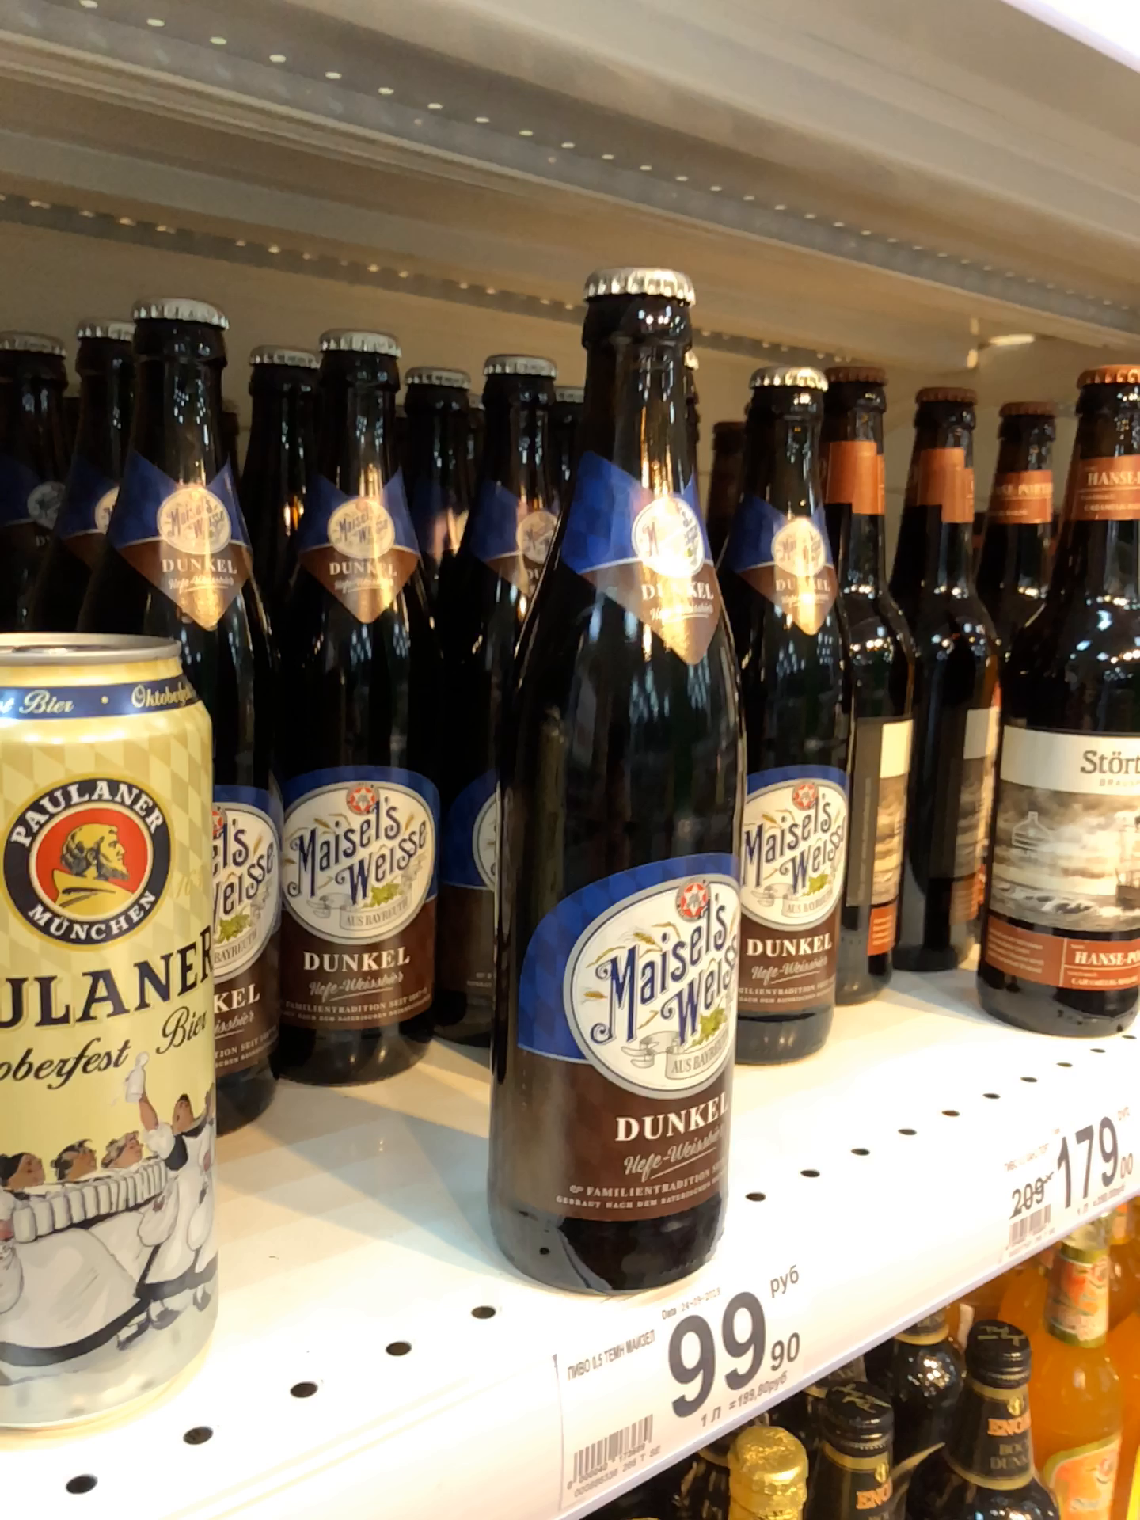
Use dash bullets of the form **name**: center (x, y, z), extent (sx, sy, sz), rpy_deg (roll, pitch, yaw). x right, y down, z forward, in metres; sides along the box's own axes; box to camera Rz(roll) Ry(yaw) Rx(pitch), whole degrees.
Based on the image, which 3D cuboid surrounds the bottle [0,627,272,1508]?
- **bottle**: center (-0.116, 0.057, 0.285), extent (0.069, 0.167, 0.068), rpy_deg (2, 9, 0)

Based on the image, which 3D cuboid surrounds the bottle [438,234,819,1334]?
- **bottle**: center (0.011, 0.007, 0.341), extent (0.065, 0.262, 0.067), rpy_deg (2, 9, 0)

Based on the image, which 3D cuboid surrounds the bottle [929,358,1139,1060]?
- **bottle**: center (0.211, -0.021, 0.534), extent (0.065, 0.274, 0.067), rpy_deg (2, 9, 0)

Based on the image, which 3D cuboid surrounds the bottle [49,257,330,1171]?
- **bottle**: center (-0.125, -0.014, 0.411), extent (0.070, 0.262, 0.082), rpy_deg (-2, 10, -27)
